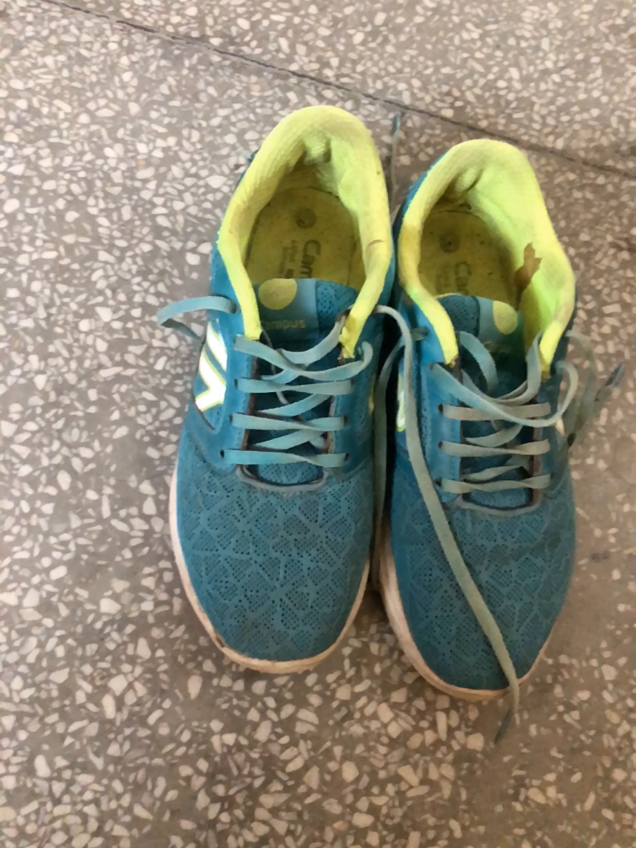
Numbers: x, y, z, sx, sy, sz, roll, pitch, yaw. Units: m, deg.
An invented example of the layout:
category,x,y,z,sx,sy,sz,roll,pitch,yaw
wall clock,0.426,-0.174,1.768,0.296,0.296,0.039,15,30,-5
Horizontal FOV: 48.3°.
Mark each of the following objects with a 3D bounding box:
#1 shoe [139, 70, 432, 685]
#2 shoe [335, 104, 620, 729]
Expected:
category,x,y,z,sx,sy,sz,roll,pitch,yaw
shoe,-0.009,-0.020,0.310,0.090,0.080,0.240,6,74,-4
shoe,0.069,-0.004,0.326,0.100,0.080,0.250,4,80,-5
